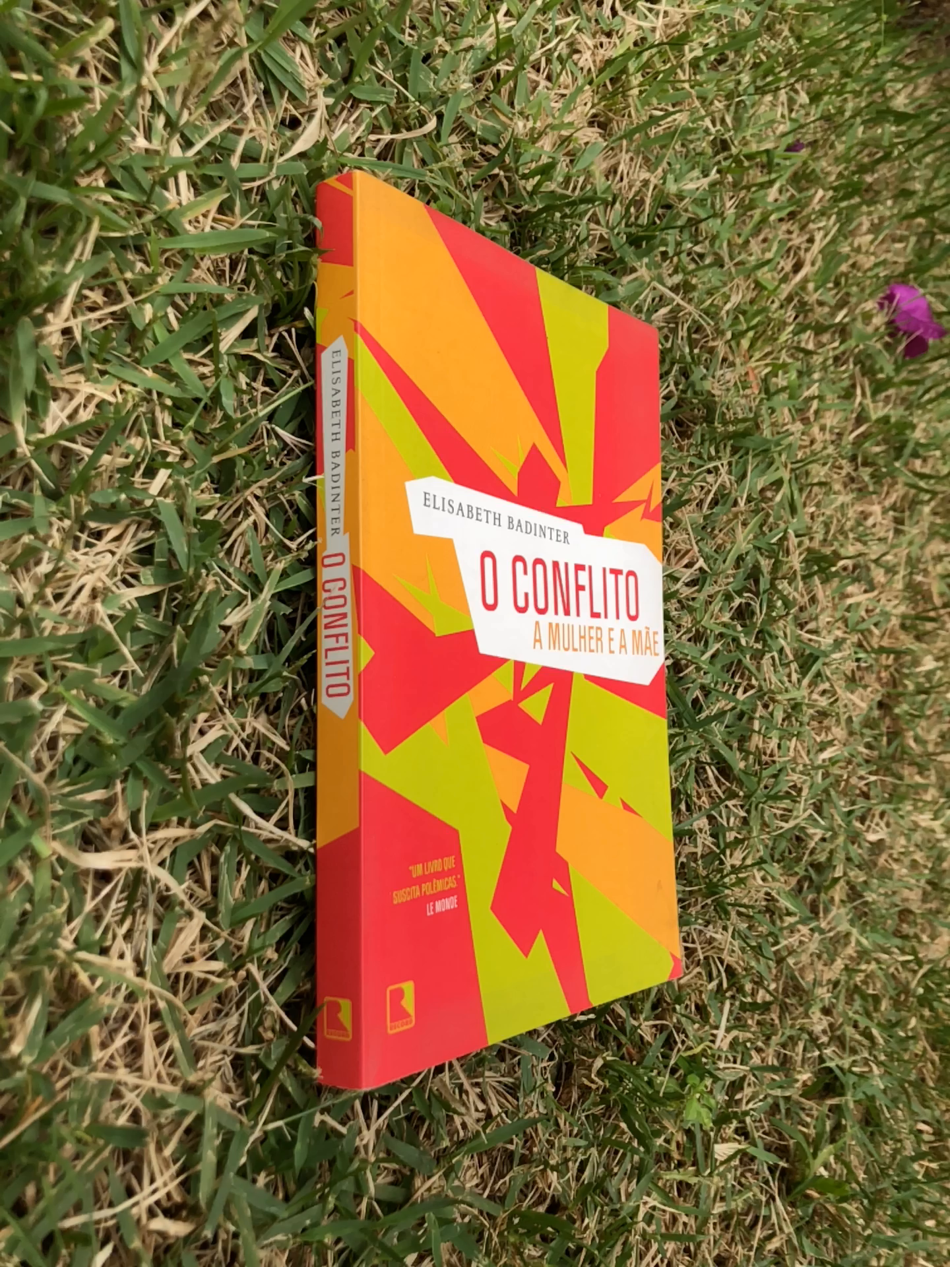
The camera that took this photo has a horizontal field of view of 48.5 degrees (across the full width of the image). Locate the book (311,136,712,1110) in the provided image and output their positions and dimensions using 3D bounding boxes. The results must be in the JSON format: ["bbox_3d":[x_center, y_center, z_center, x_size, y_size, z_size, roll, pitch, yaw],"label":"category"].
[{"bbox_3d":[0.016,-0.002,0.270,0.131,0.020,0.200,6,81,-48],"label":"book"}]
